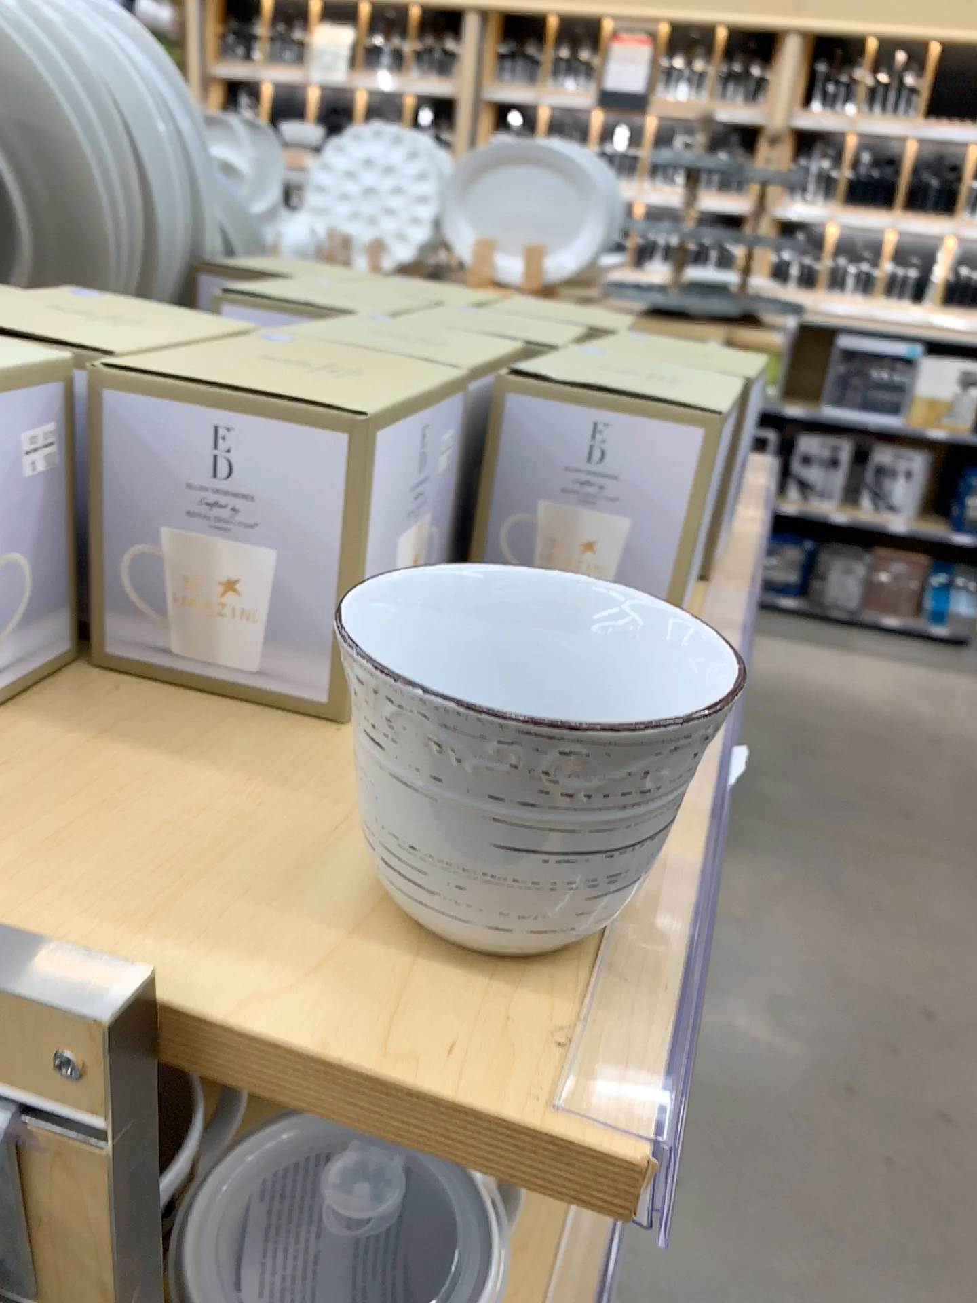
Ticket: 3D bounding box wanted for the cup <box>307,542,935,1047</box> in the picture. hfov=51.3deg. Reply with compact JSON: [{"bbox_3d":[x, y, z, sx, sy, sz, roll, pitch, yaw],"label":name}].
[{"bbox_3d":[0.028,0.026,0.287,0.124,0.075,0.114,5,23,-2],"label":"cup"}]
